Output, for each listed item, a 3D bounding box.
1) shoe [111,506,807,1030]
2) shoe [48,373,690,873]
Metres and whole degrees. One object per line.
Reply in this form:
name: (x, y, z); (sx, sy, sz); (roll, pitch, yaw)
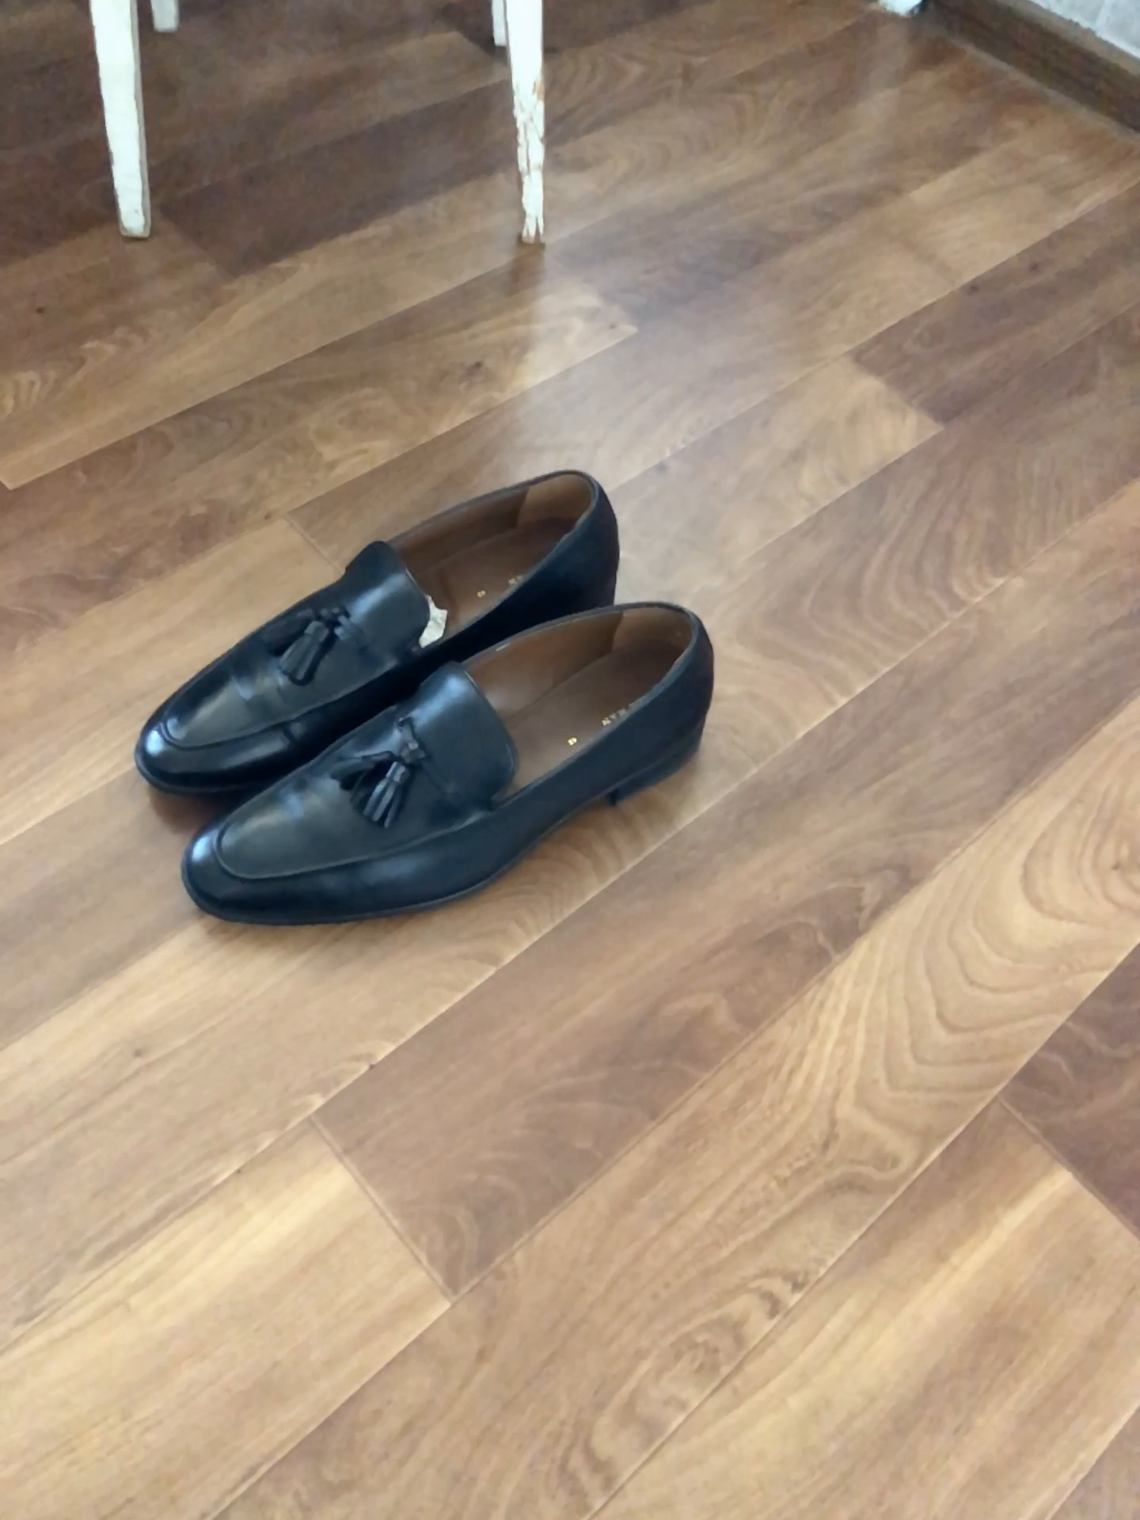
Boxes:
shoe: (-0.049, -0.001, 0.623); (0.301, 0.119, 0.110); (-23, 61, -19)
shoe: (-0.096, -0.079, 0.672); (0.301, 0.119, 0.110); (-28, 63, -21)
